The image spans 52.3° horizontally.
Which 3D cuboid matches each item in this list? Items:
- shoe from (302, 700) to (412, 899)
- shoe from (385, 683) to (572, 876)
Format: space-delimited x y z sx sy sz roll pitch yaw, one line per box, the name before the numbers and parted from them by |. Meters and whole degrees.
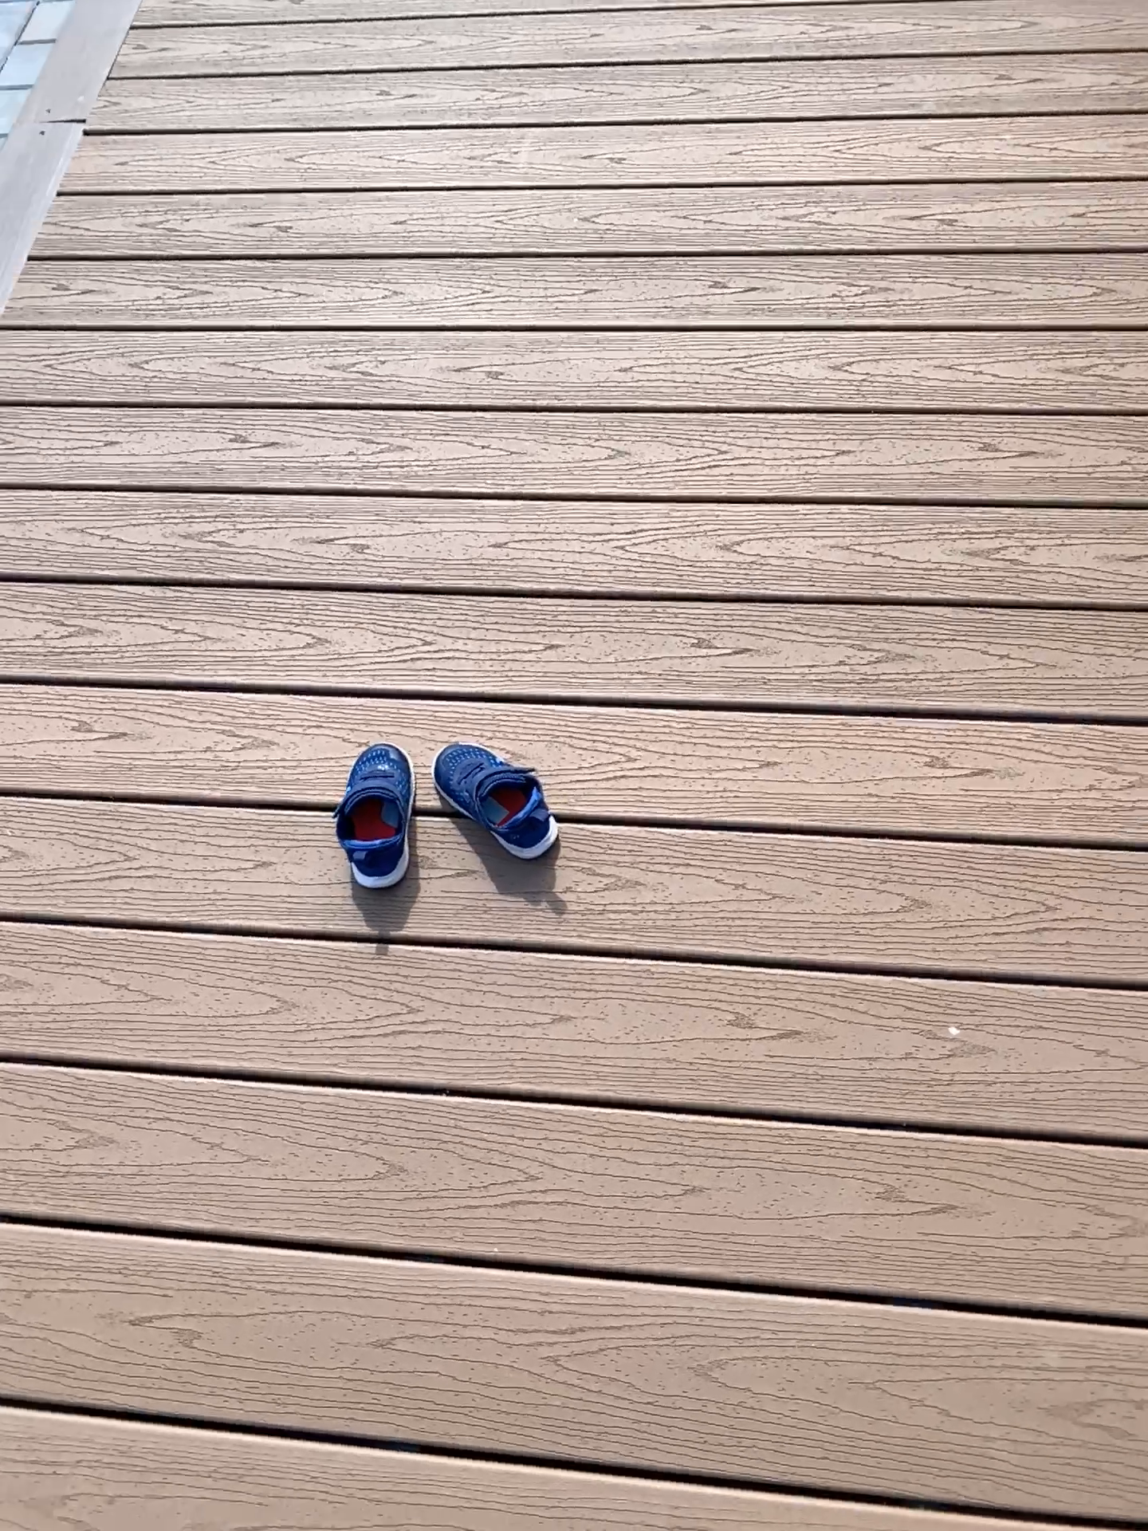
shoe | -0.213 0.034 1.169 0.080 0.090 0.170 -5 61 4
shoe | -0.095 0.014 1.176 0.170 0.090 0.080 39 72 24
